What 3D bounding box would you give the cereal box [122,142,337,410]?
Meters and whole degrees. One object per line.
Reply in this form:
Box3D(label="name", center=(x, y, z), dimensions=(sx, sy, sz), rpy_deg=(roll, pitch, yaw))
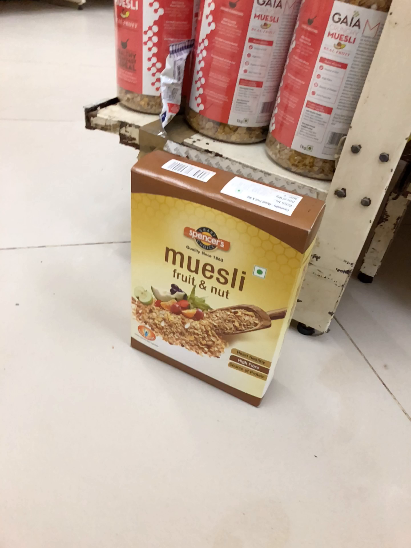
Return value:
Box3D(label="cereal box", center=(0.007, 0.008, 0.485), dimensions=(0.190, 0.238, 0.060), rpy_deg=(21, 38, 18))
